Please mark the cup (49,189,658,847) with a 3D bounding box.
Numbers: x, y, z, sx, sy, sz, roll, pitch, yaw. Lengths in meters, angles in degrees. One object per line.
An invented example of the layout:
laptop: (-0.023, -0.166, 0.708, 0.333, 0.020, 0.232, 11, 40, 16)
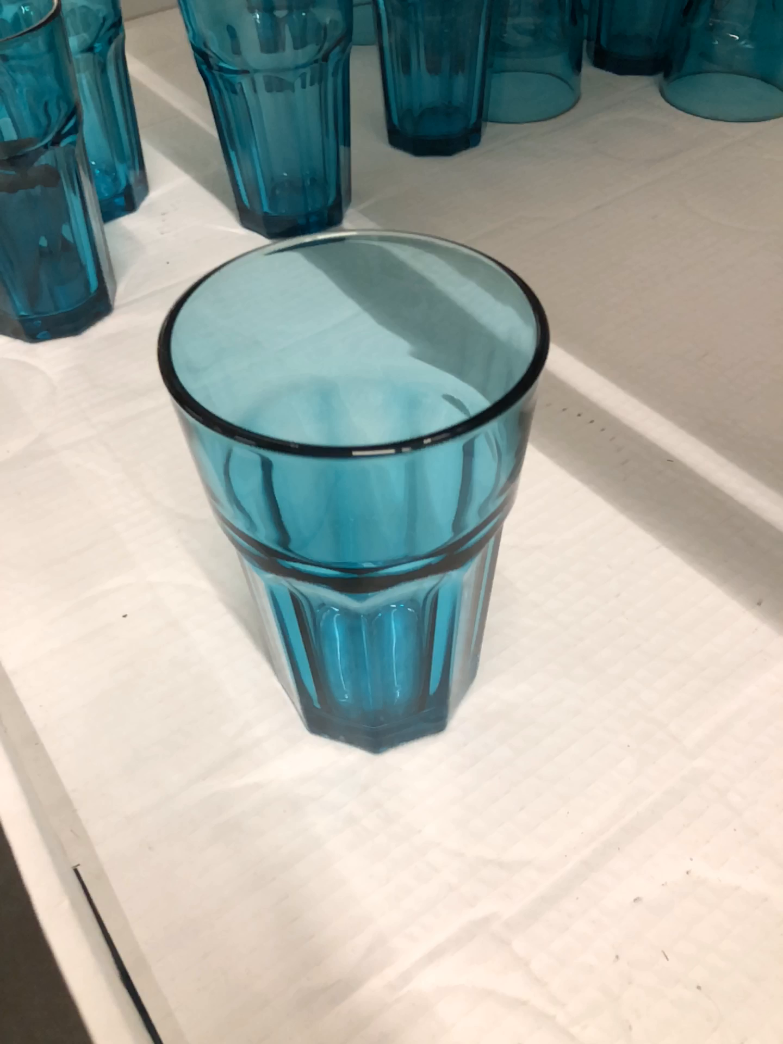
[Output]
cup: (-0.011, -0.001, 0.211, 0.092, 0.102, 0.090, -2, 49, 2)
